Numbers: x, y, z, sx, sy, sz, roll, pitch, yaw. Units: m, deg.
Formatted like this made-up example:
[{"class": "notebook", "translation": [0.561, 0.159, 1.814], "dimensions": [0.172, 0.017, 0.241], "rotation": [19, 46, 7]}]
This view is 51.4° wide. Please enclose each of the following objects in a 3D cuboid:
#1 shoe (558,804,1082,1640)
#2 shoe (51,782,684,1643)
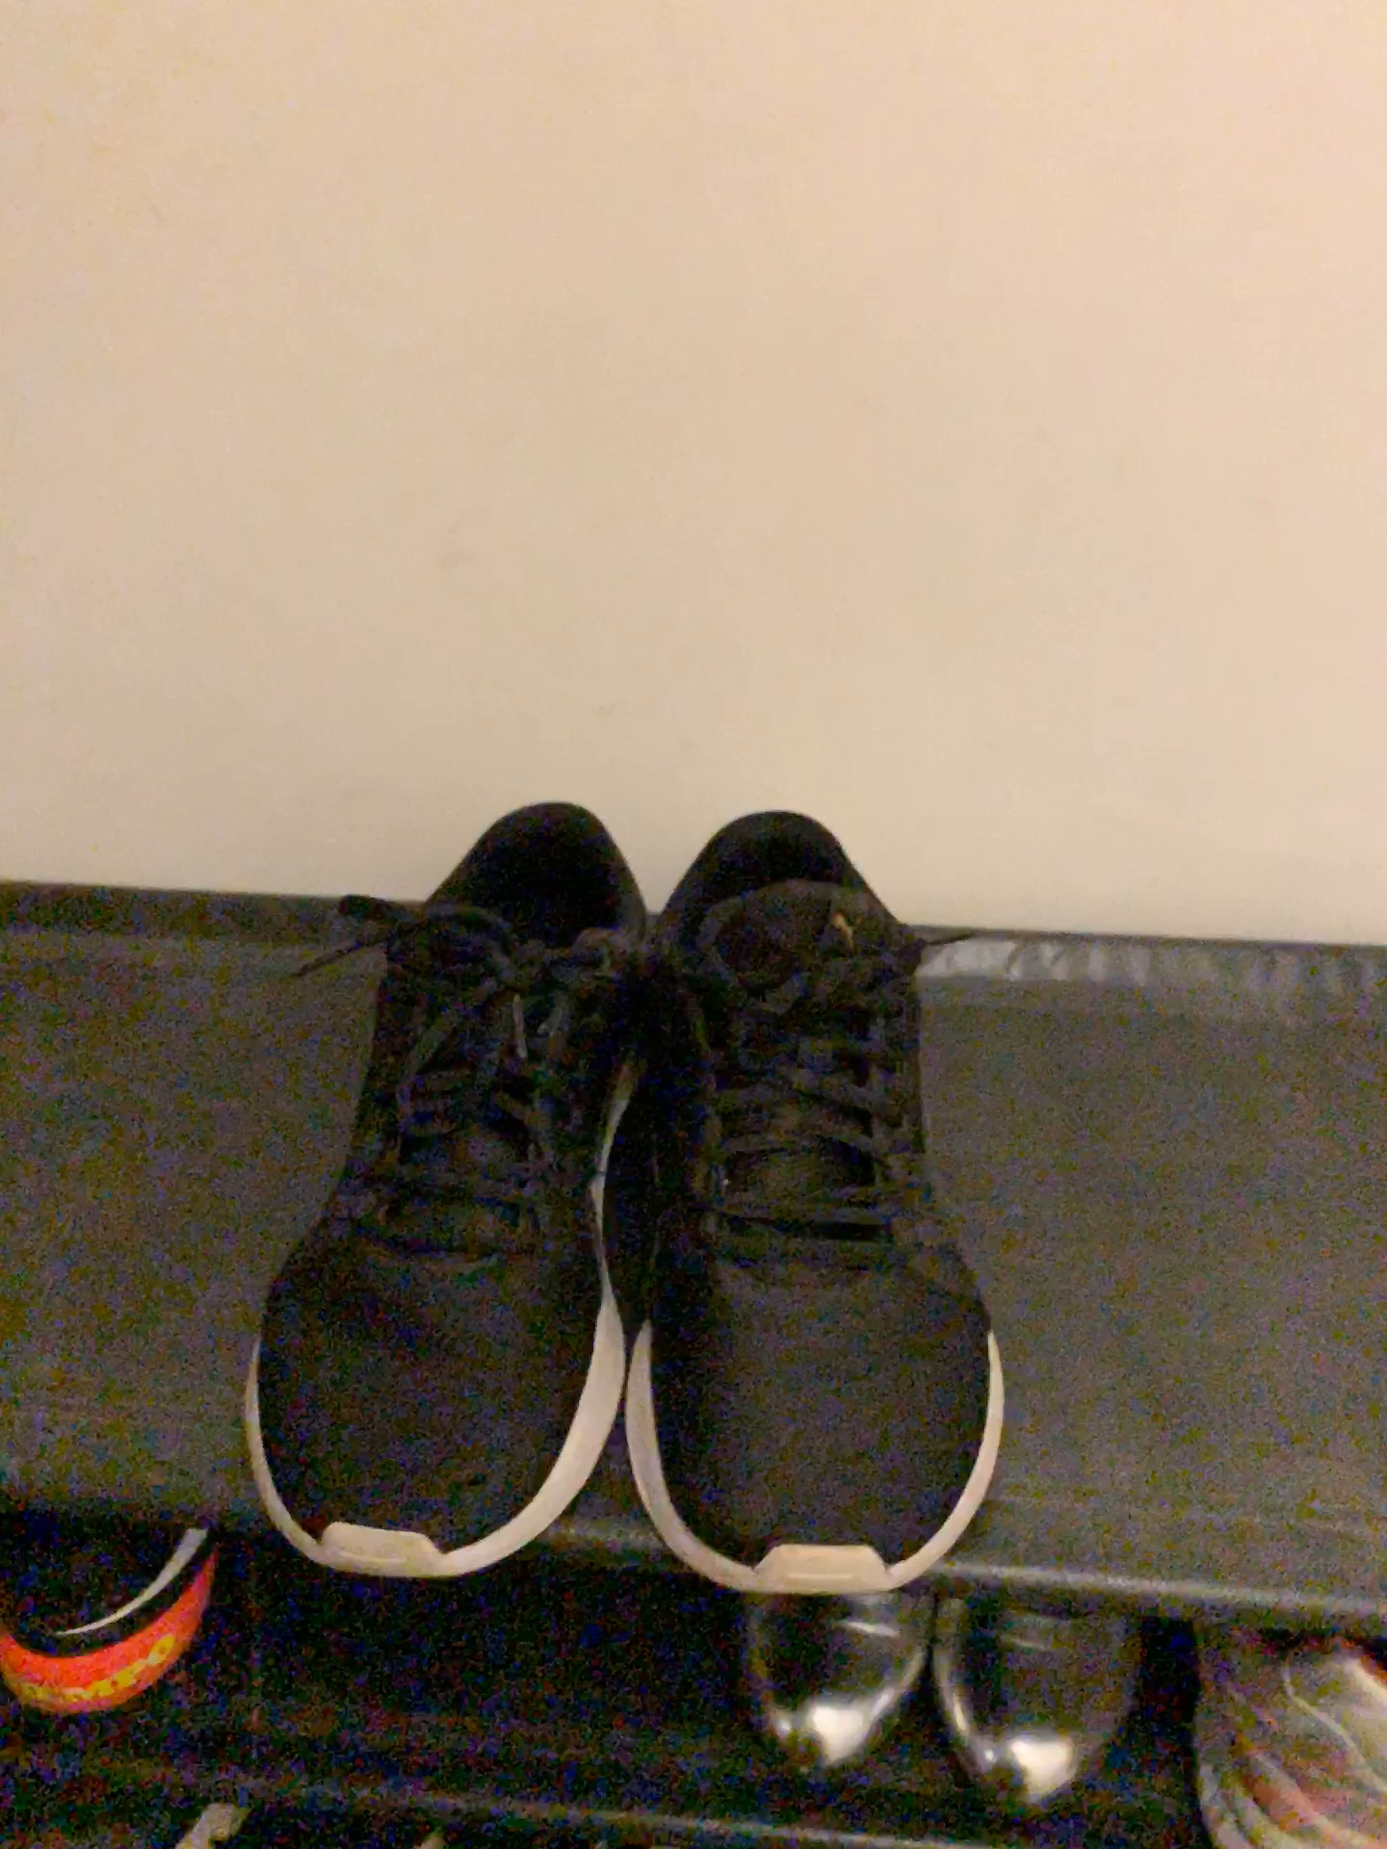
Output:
[{"class": "shoe", "translation": [0.035, 0.063, 0.430], "dimensions": [0.110, 0.069, 0.262], "rotation": [2, 36, 3]}, {"class": "shoe", "translation": [-0.067, 0.060, 0.414], "dimensions": [0.110, 0.089, 0.242], "rotation": [2, 36, 3]}]
